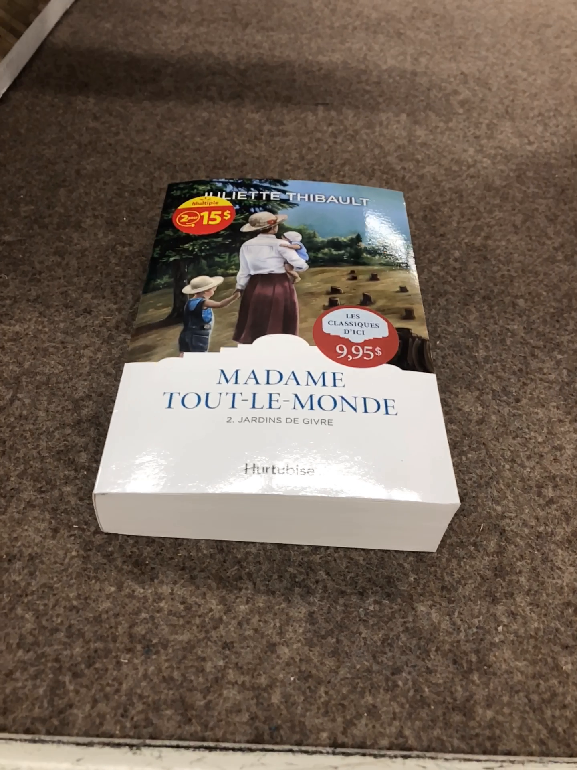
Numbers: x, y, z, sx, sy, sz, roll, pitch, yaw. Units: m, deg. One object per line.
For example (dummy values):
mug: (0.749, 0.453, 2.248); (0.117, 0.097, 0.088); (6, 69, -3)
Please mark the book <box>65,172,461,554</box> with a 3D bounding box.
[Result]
book: (-0.008, -0.027, 0.347); (0.160, 0.050, 0.223); (2, 51, 0)
